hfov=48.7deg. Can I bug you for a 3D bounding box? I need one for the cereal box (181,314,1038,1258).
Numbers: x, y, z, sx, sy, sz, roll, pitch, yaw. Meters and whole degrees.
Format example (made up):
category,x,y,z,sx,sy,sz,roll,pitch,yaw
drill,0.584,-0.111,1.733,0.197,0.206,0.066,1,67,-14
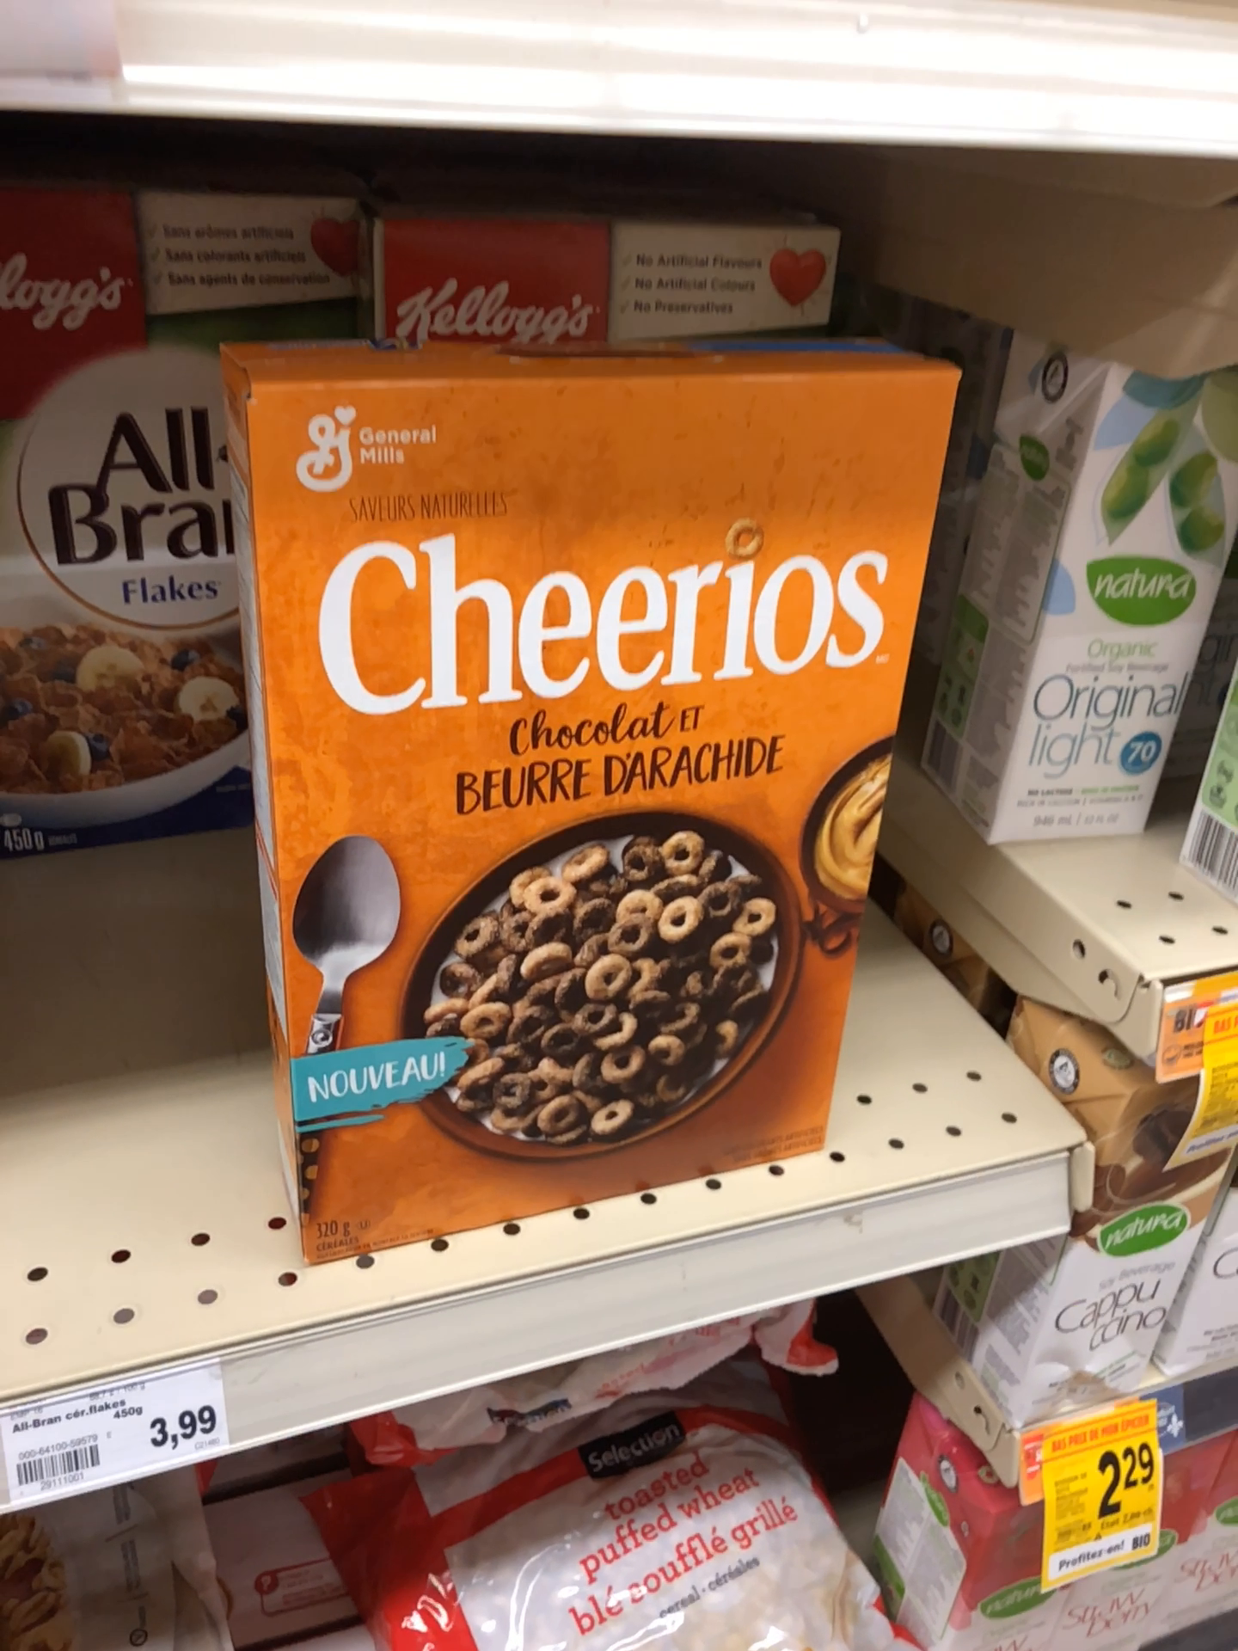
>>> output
category,x,y,z,sx,sy,sz,roll,pitch,yaw
cereal box,-0.007,-0.007,0.409,0.210,0.268,0.050,-7,32,-19
